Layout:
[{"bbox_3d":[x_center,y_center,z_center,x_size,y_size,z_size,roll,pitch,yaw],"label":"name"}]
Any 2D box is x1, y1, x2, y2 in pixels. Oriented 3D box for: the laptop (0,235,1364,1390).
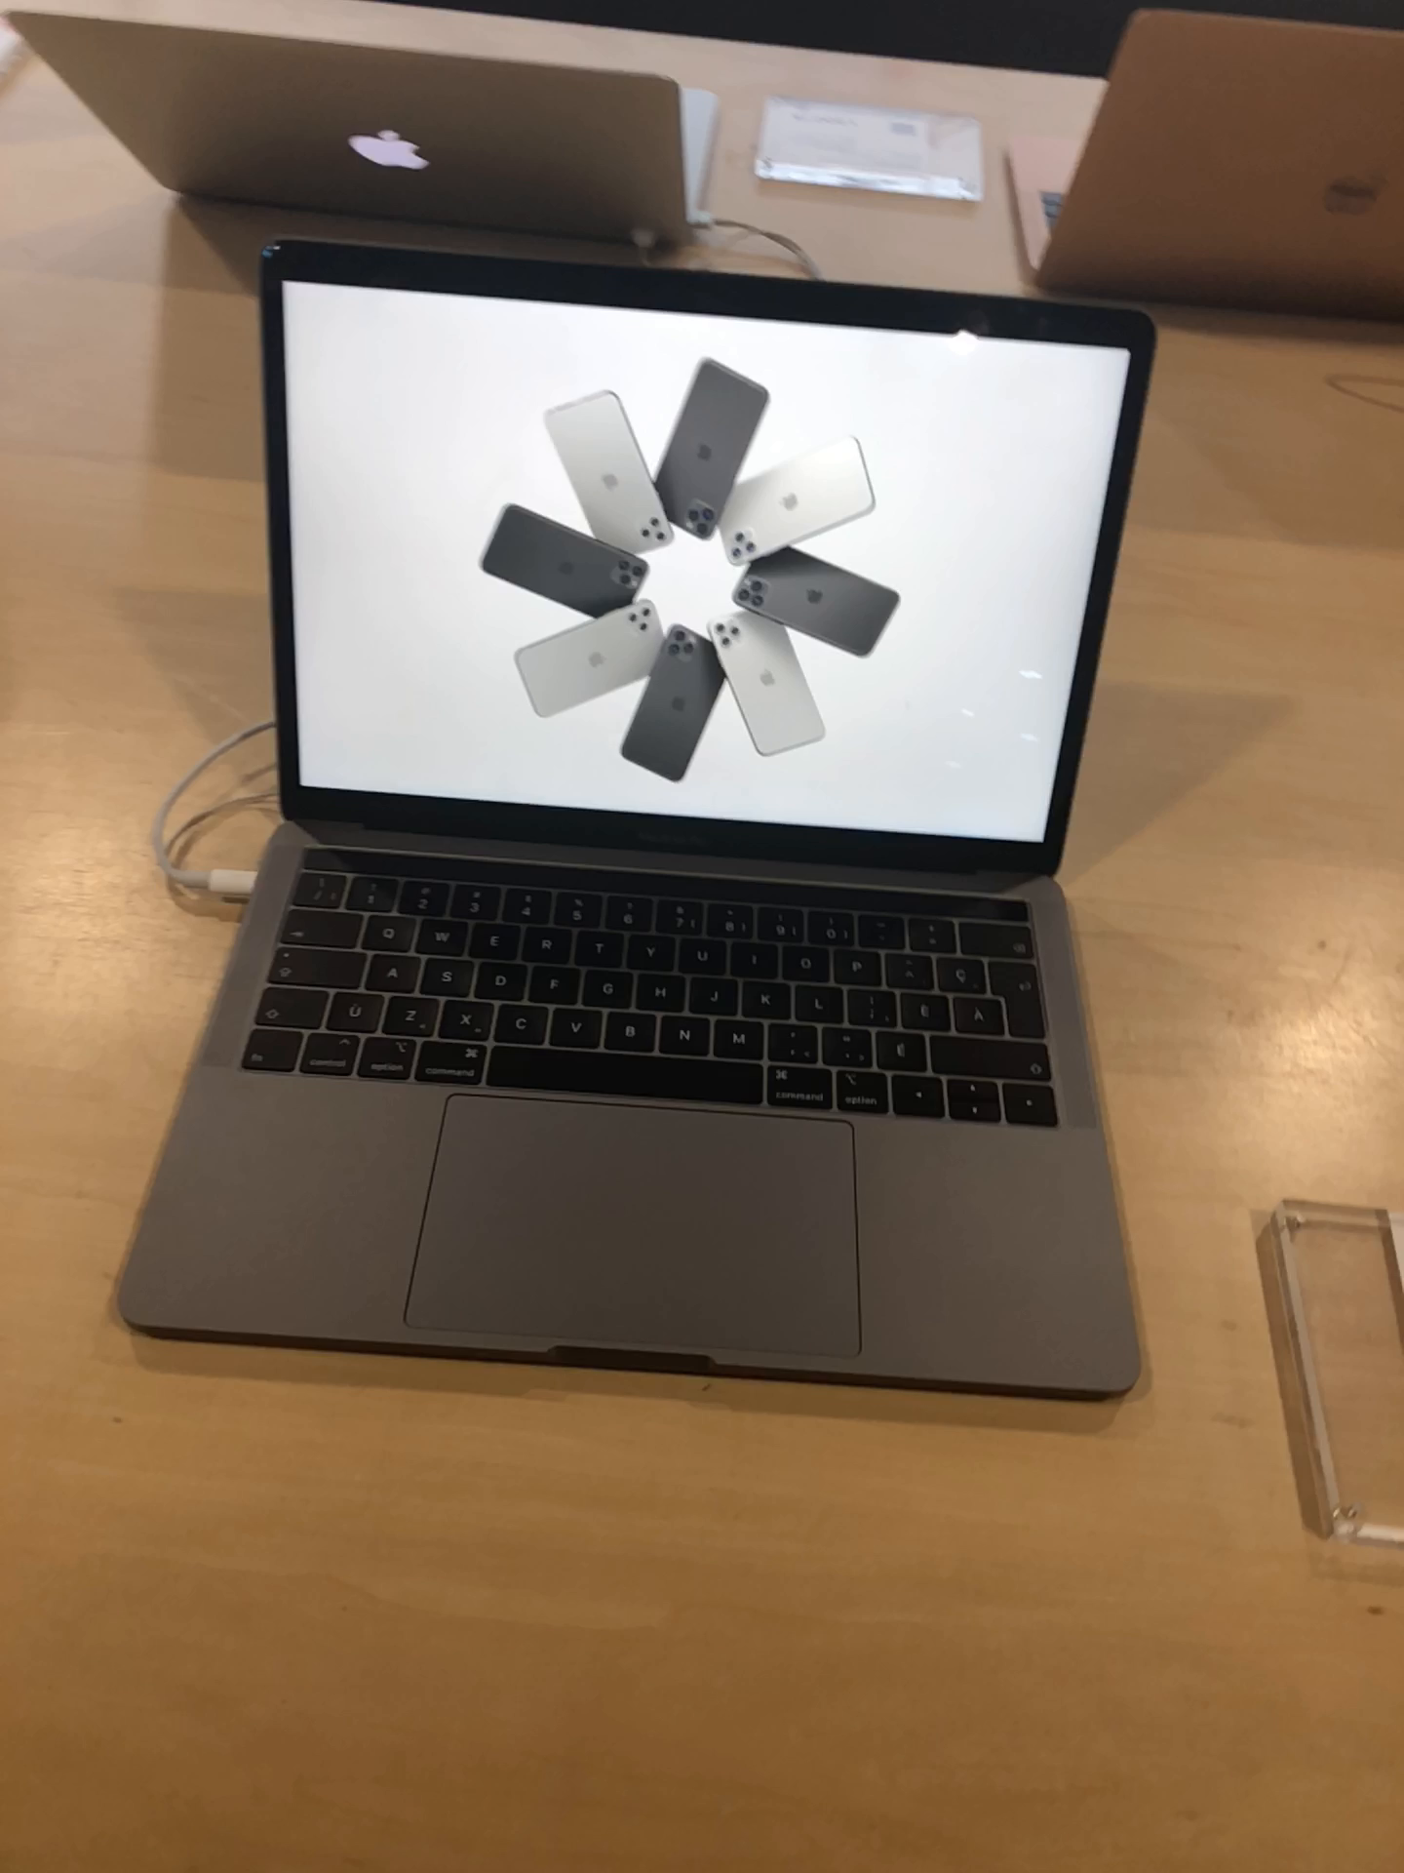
[{"bbox_3d":[-0.013,-0.049,0.482,0.296,0.181,0.296,5,47,-2],"label":"laptop"}]
